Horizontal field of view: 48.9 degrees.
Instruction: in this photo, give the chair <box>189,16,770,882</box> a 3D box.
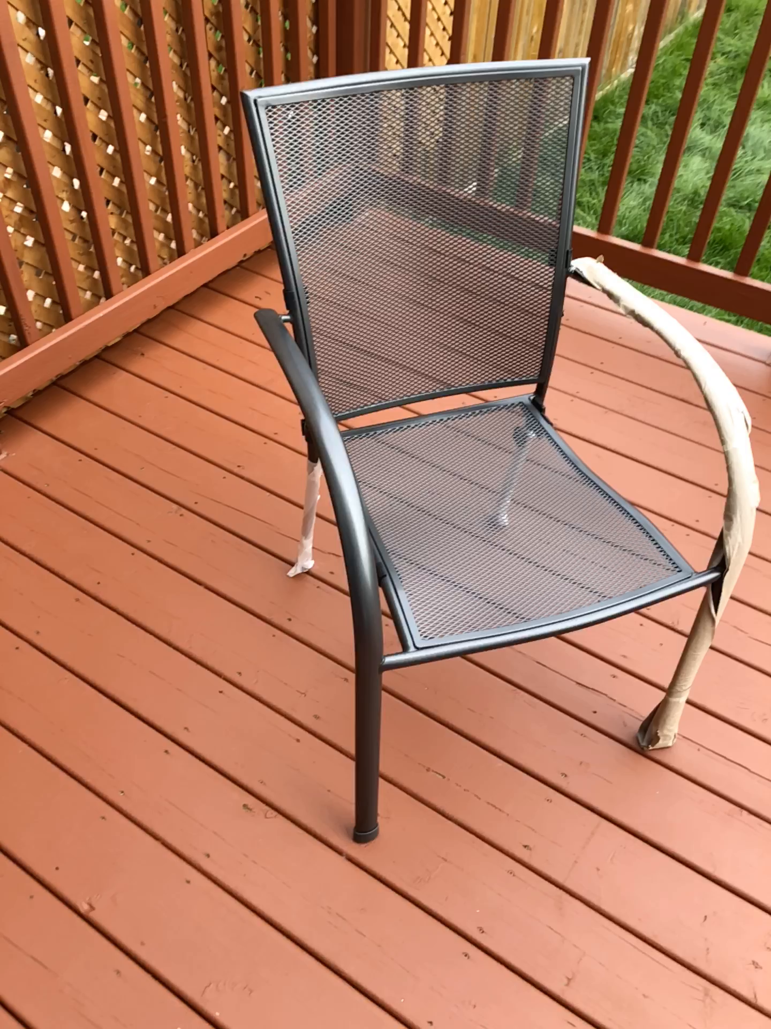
[{"bbox_3d":[0.142,-0.073,1.205,0.600,0.926,0.652,-13,47,-14],"label":"chair"}]
